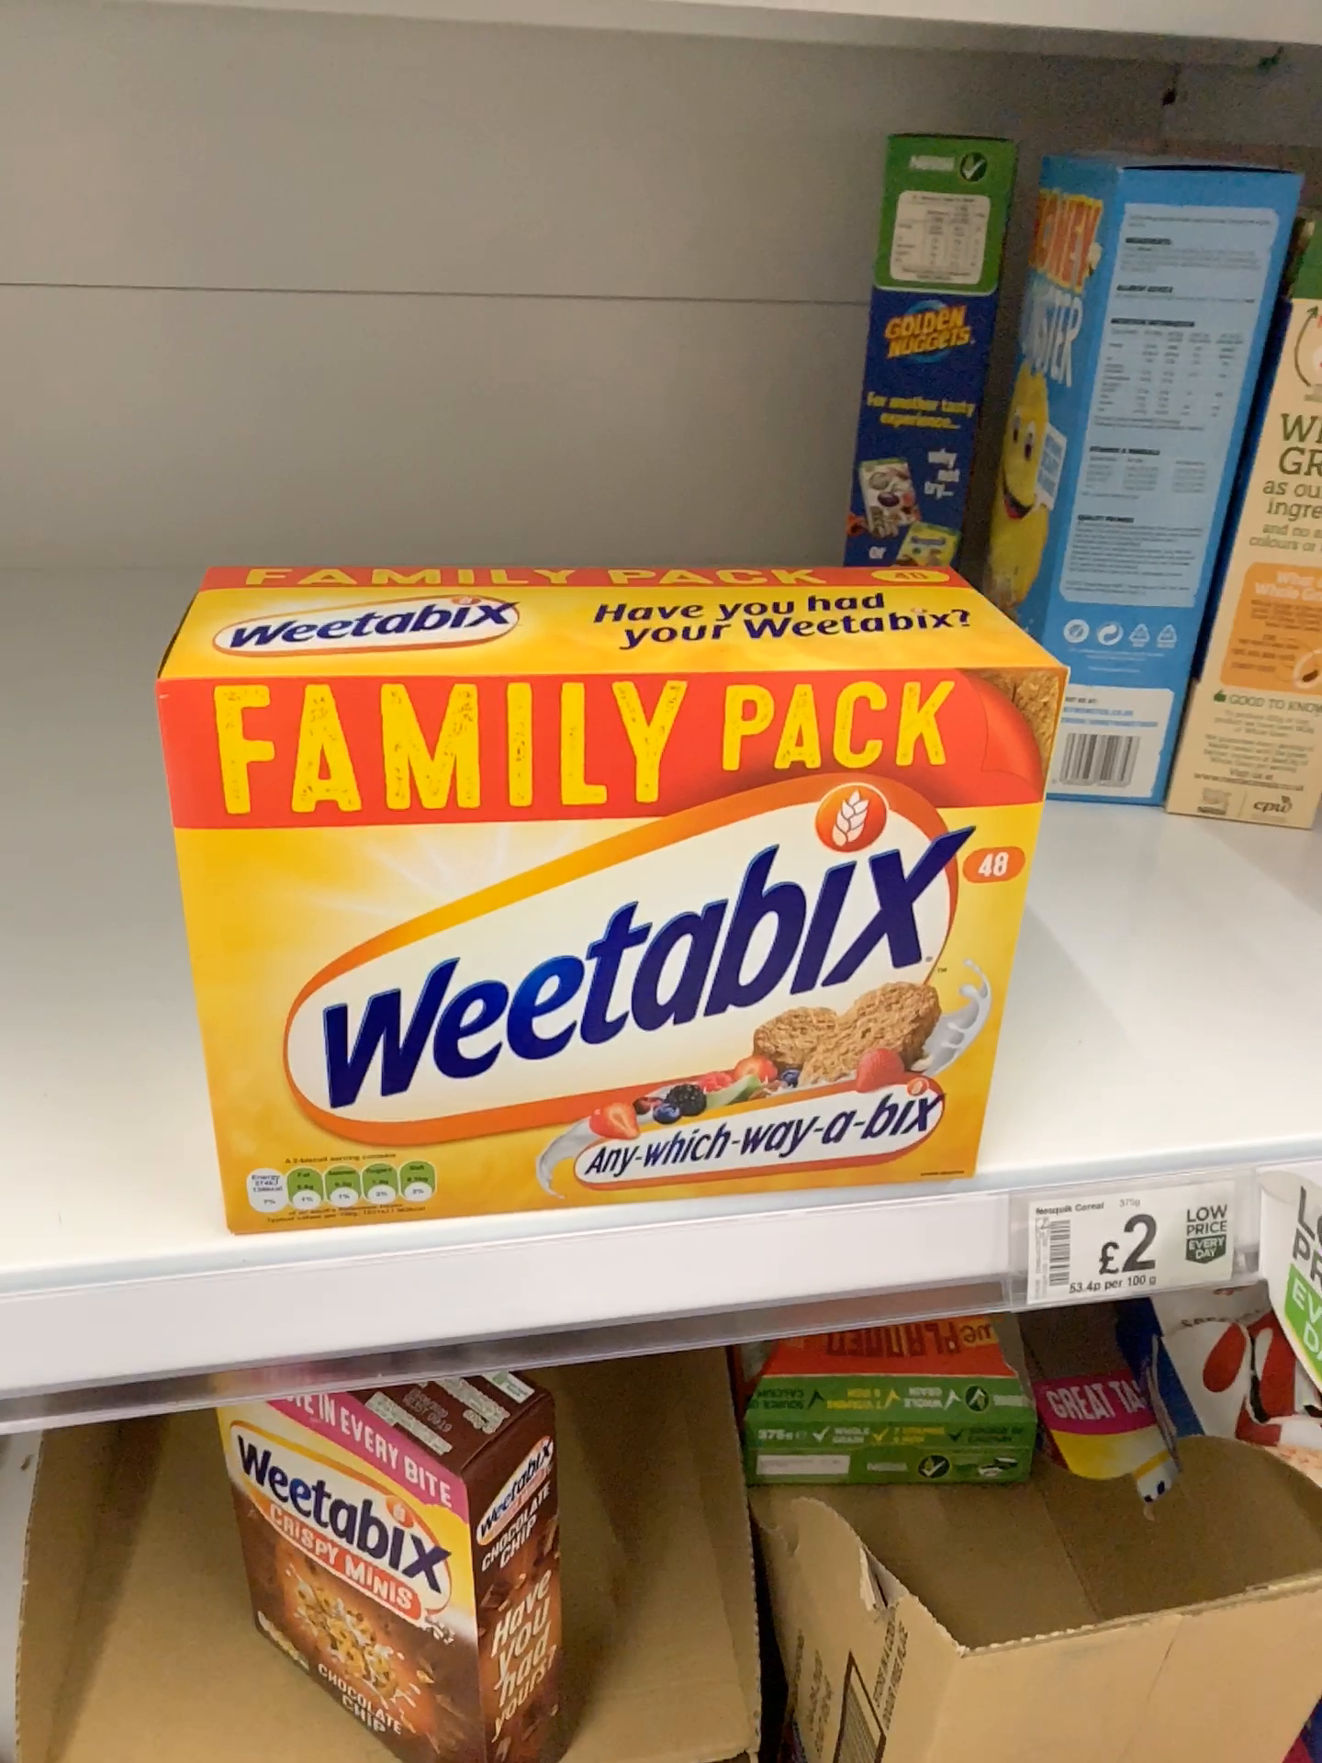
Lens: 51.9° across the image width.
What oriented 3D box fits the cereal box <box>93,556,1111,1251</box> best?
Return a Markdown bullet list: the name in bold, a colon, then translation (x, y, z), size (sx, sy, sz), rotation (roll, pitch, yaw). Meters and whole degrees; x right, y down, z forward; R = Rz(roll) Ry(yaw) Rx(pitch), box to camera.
- **cereal box**: translation (-0.019, 0.004, 0.429), size (0.260, 0.188, 0.091), rotation (-2, 29, -9)
